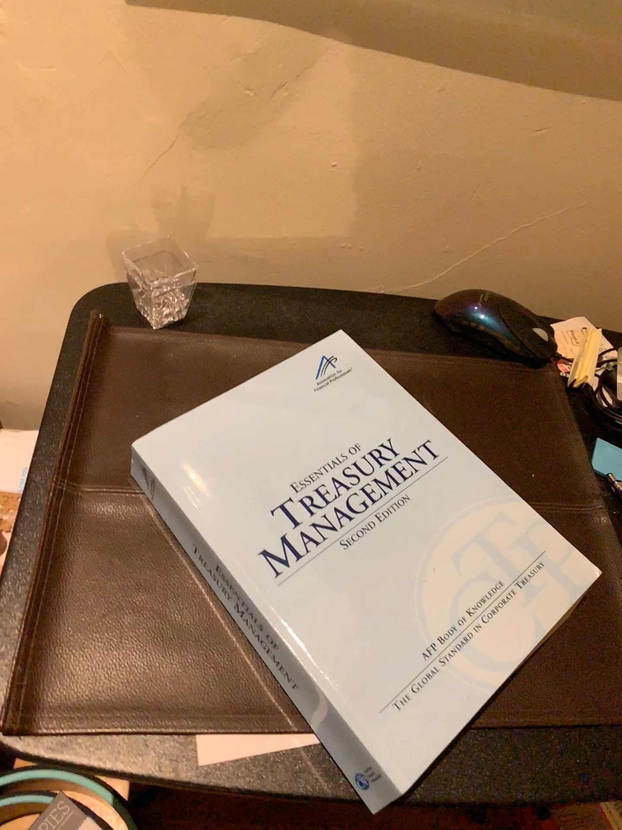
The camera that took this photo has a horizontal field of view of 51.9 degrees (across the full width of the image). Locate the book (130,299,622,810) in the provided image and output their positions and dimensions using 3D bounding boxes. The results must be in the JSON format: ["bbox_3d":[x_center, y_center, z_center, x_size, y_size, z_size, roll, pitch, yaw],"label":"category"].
[{"bbox_3d":[0.046,0.068,0.469,0.220,0.060,0.301,-30,65,-29],"label":"book"}]
